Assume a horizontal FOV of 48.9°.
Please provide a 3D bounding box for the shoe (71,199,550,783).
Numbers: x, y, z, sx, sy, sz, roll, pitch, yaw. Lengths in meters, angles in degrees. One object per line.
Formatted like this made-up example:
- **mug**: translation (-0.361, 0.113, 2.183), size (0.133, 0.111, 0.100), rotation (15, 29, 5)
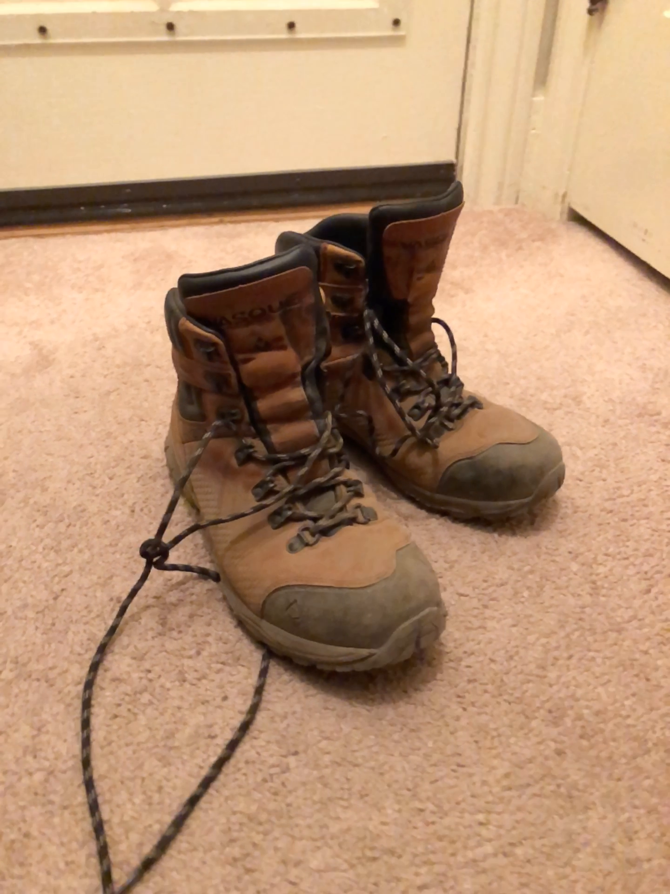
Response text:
- **shoe**: translation (-0.039, 0.002, 0.478), size (0.120, 0.219, 0.311), rotation (-22, 41, -27)

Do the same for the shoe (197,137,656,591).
- **shoe**: translation (0.045, -0.082, 0.576), size (0.121, 0.229, 0.311), rotation (-30, 46, -35)
